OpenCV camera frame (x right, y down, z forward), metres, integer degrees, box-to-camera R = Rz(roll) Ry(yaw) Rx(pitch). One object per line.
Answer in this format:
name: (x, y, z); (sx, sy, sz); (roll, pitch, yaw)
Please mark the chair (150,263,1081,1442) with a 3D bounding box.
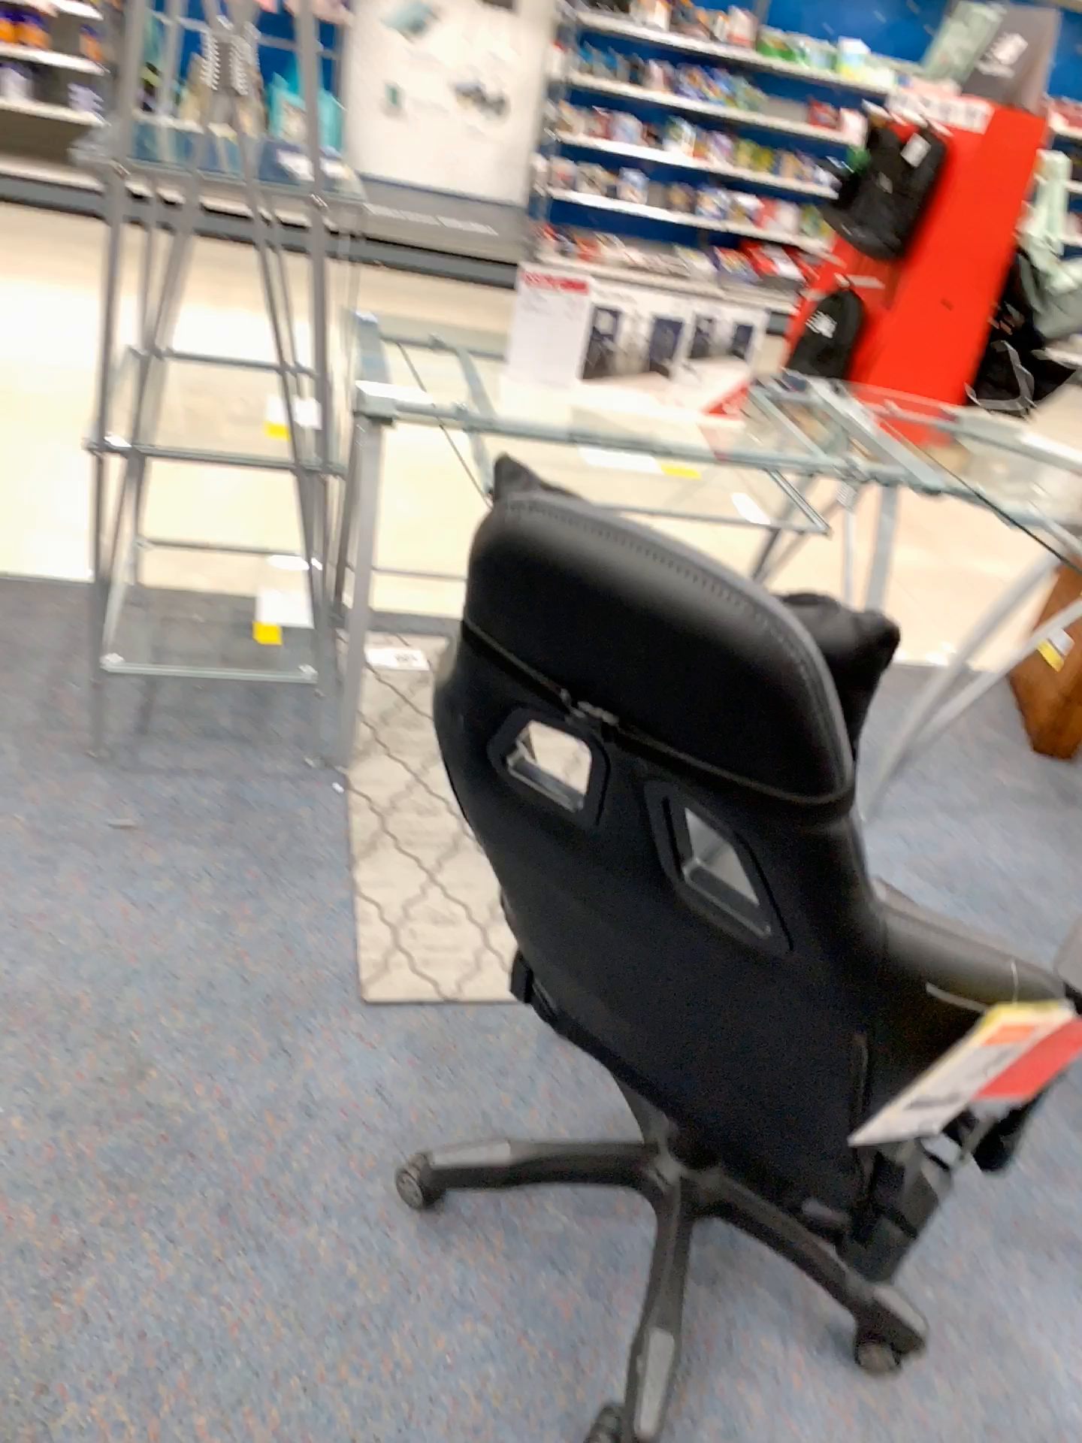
chair: (0.233, 0.188, 1.142); (0.787, 1.061, 0.914); (31, 35, 27)
